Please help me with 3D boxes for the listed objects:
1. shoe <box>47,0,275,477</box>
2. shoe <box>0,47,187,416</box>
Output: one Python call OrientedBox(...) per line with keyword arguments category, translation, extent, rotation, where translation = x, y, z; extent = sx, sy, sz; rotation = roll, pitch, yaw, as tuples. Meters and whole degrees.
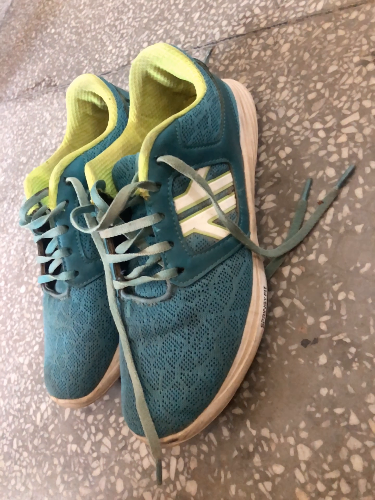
OrientedBox(category="shoe", translation=(-0.009, -0.010, 0.271), extent=(0.101, 0.080, 0.250), rotation=(-7, 72, 39))
OrientedBox(category="shoe", translation=(-0.078, -0.012, 0.315), extent=(0.090, 0.080, 0.240), rotation=(-5, 68, 39))
